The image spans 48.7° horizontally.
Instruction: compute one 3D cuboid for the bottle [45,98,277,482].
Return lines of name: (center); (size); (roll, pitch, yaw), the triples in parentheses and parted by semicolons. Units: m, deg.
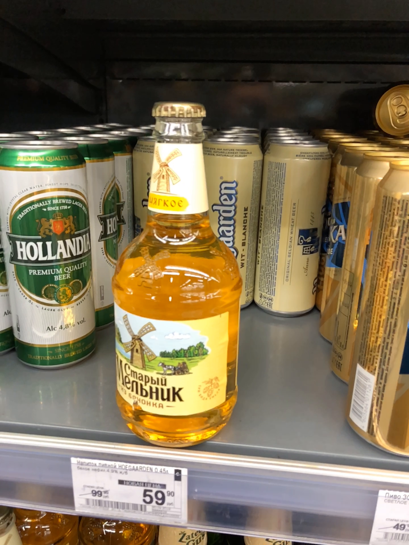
bottle: (-0.022, 0.002, 0.265); (0.090, 0.193, 0.080); (12, 22, 27)
